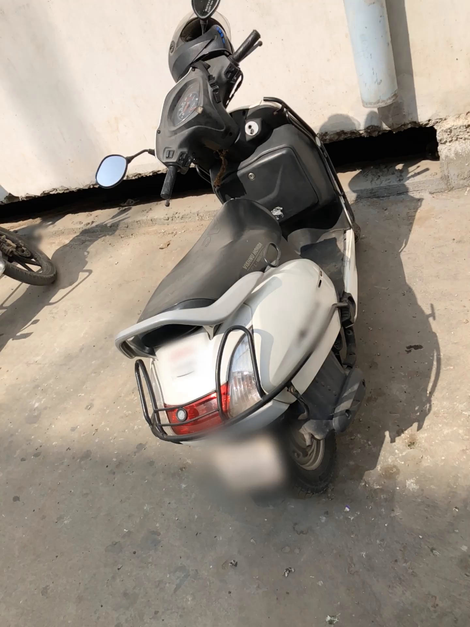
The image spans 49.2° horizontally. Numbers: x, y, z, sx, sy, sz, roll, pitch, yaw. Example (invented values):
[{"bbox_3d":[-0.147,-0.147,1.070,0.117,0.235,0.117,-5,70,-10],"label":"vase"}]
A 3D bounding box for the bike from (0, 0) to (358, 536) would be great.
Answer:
[{"bbox_3d":[-0.178,-0.192,1.730,0.625,1.122,1.307,-15,40,12],"label":"bike"}]
